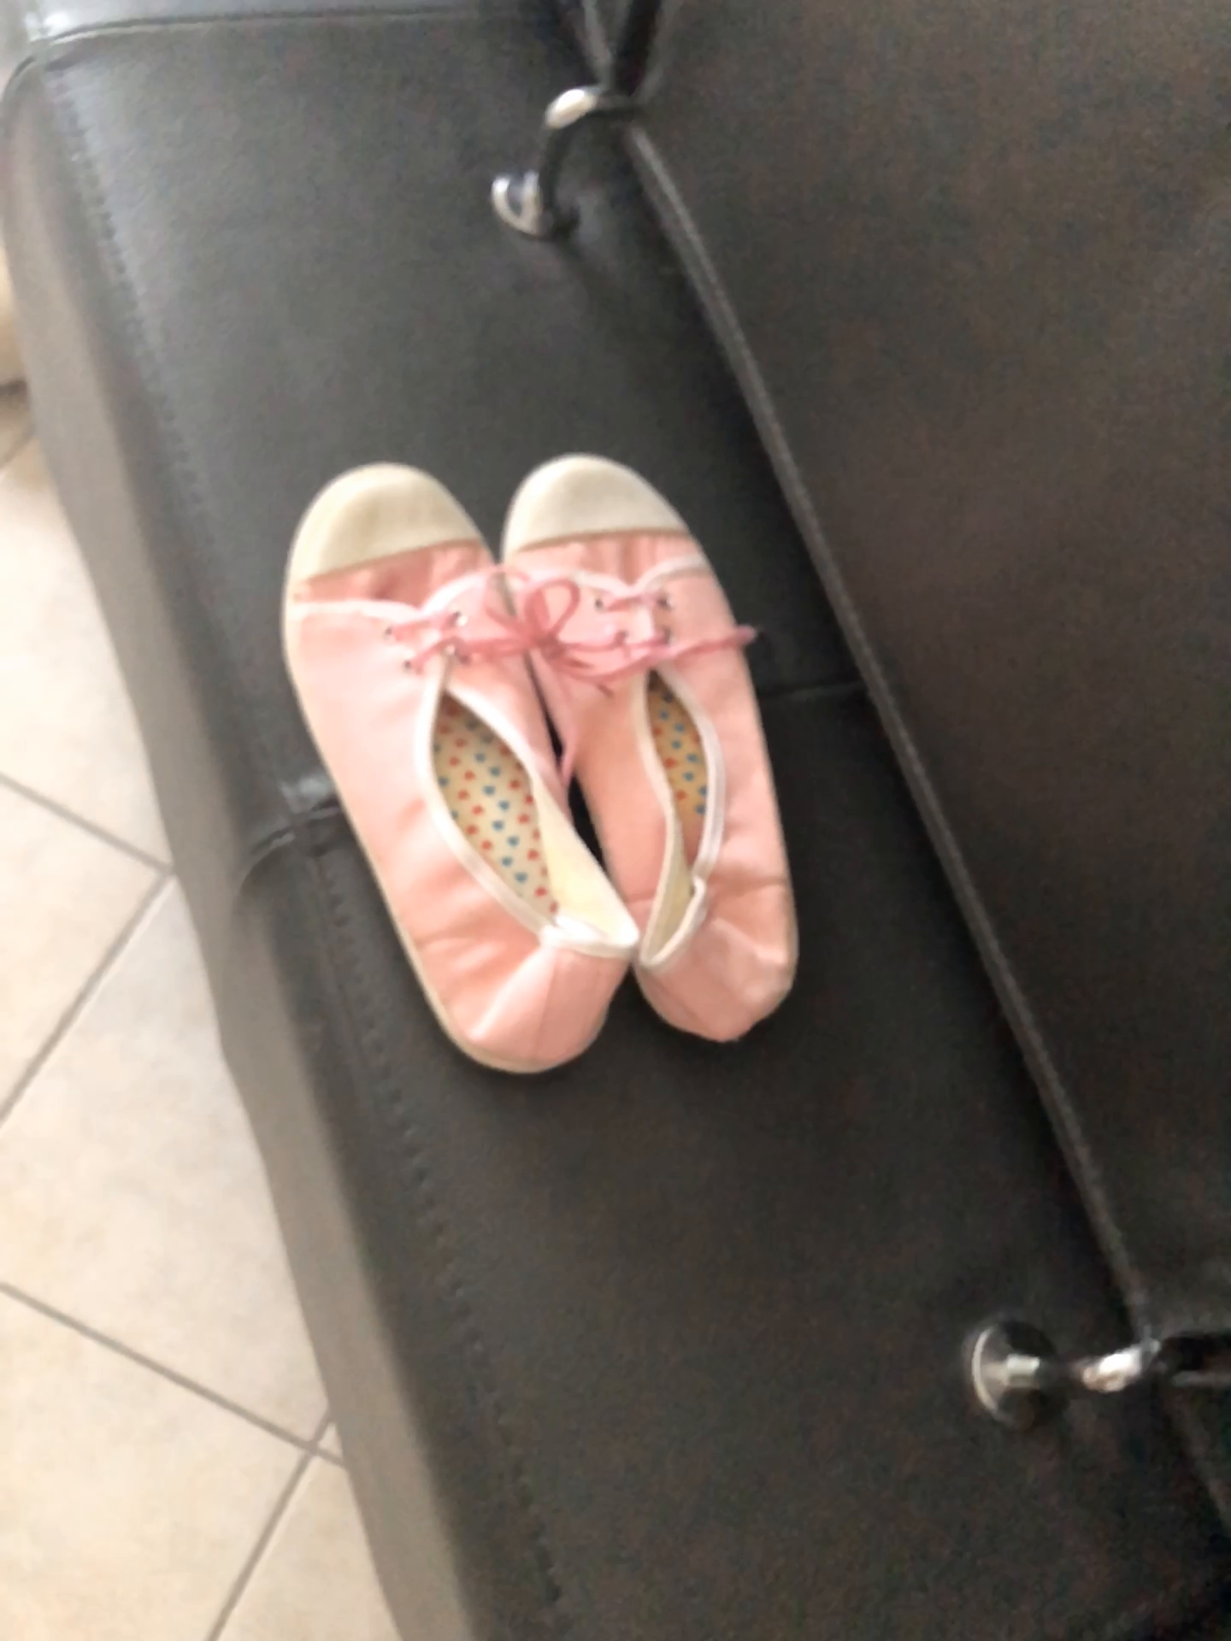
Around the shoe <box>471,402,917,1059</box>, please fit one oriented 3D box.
[{"bbox_3d":[0.024,-0.041,0.520,0.090,0.040,0.240,-13,74,-20],"label":"shoe"}]

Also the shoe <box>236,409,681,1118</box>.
[{"bbox_3d":[-0.061,-0.027,0.485,0.090,0.040,0.240,-13,74,-20],"label":"shoe"}]
